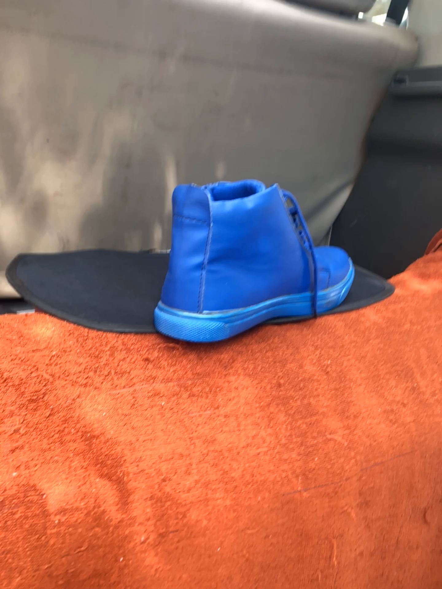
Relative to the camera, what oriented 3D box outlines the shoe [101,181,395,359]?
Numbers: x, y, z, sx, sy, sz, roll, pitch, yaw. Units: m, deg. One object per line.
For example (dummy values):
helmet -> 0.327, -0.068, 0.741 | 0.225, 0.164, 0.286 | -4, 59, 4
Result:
shoe -> 0.041, -0.049, 0.518 | 0.301, 0.119, 0.130 | -13, 27, -43
